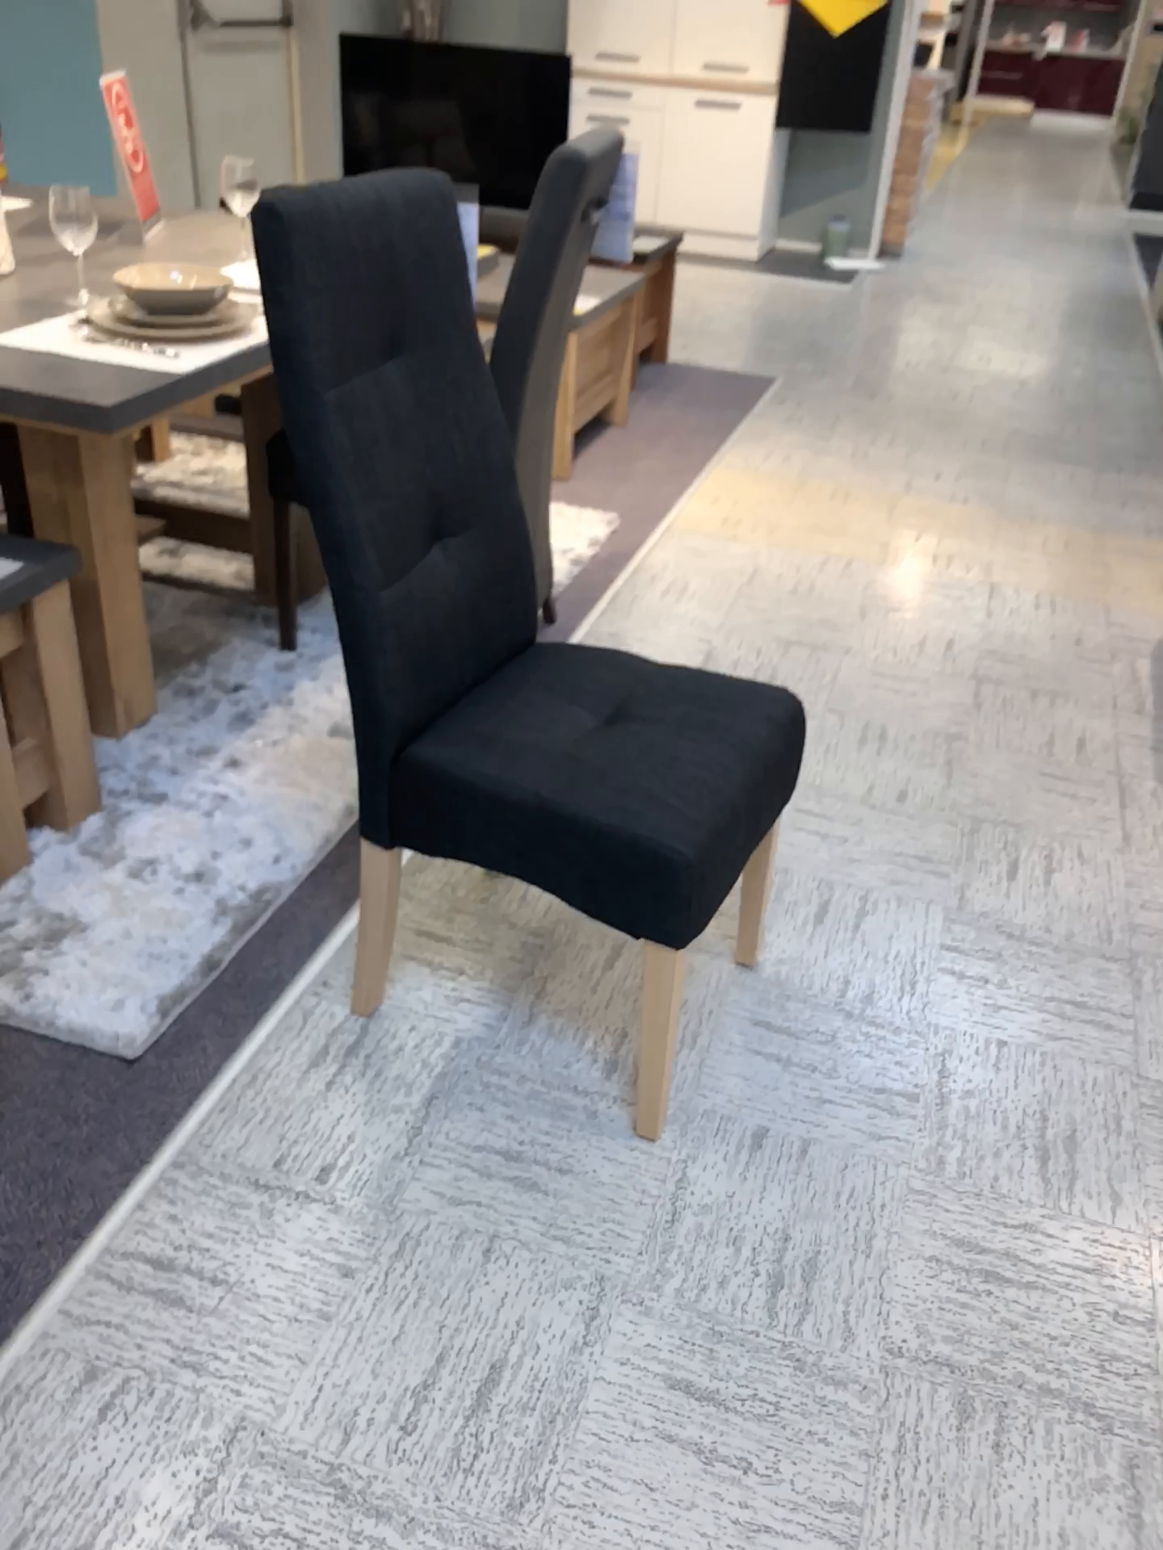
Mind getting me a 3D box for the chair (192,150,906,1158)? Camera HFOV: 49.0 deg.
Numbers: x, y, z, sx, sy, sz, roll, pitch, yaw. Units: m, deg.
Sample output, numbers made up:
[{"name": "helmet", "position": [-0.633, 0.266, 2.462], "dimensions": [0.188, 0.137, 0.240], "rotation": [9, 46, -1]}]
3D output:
[{"name": "chair", "position": [-0.040, -0.159, 1.602], "dimensions": [0.600, 1.044, 0.483], "rotation": [16, 33, 18]}]
